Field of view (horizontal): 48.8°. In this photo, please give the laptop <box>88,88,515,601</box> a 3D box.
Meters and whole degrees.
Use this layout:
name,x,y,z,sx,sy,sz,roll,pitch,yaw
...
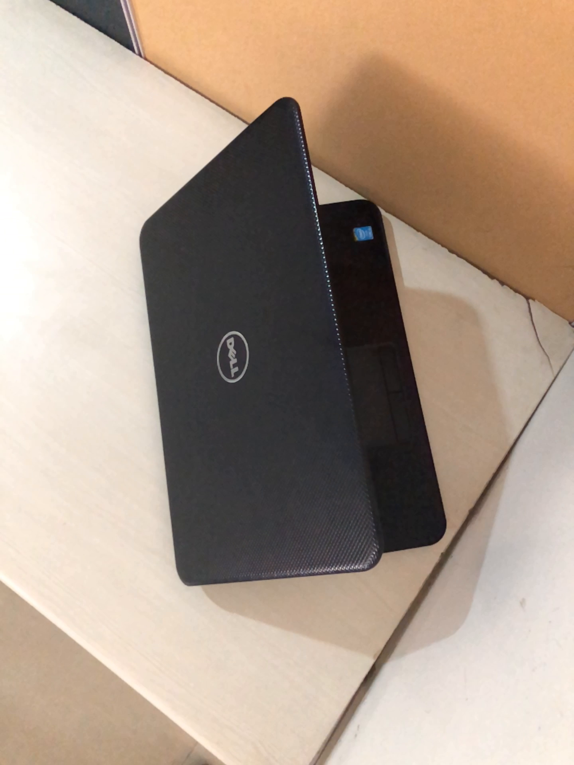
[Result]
name,x,y,z,sx,sy,sz,roll,pitch,yaw
laptop,0.002,-0.024,0.545,0.254,0.180,0.352,-9,78,-4
